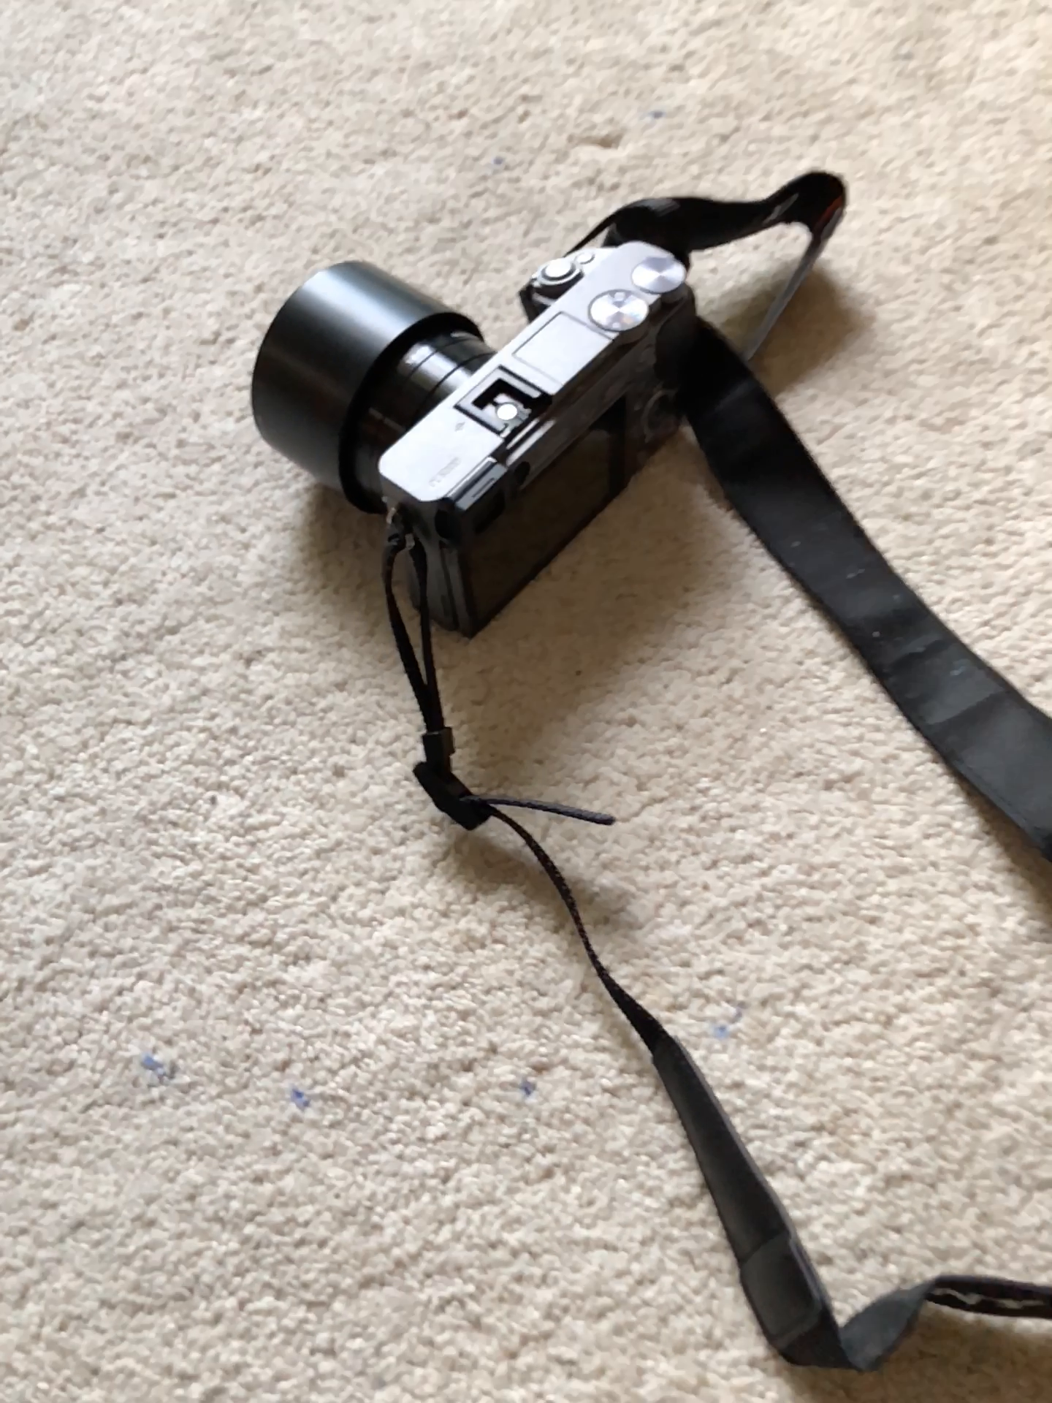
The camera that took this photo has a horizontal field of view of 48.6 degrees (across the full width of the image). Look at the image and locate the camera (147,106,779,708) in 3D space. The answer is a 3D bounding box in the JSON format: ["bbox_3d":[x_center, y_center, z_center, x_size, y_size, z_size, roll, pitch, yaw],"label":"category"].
[{"bbox_3d":[-0.014,-0.093,0.352,0.110,0.070,0.140,34,67,20],"label":"camera"}]
